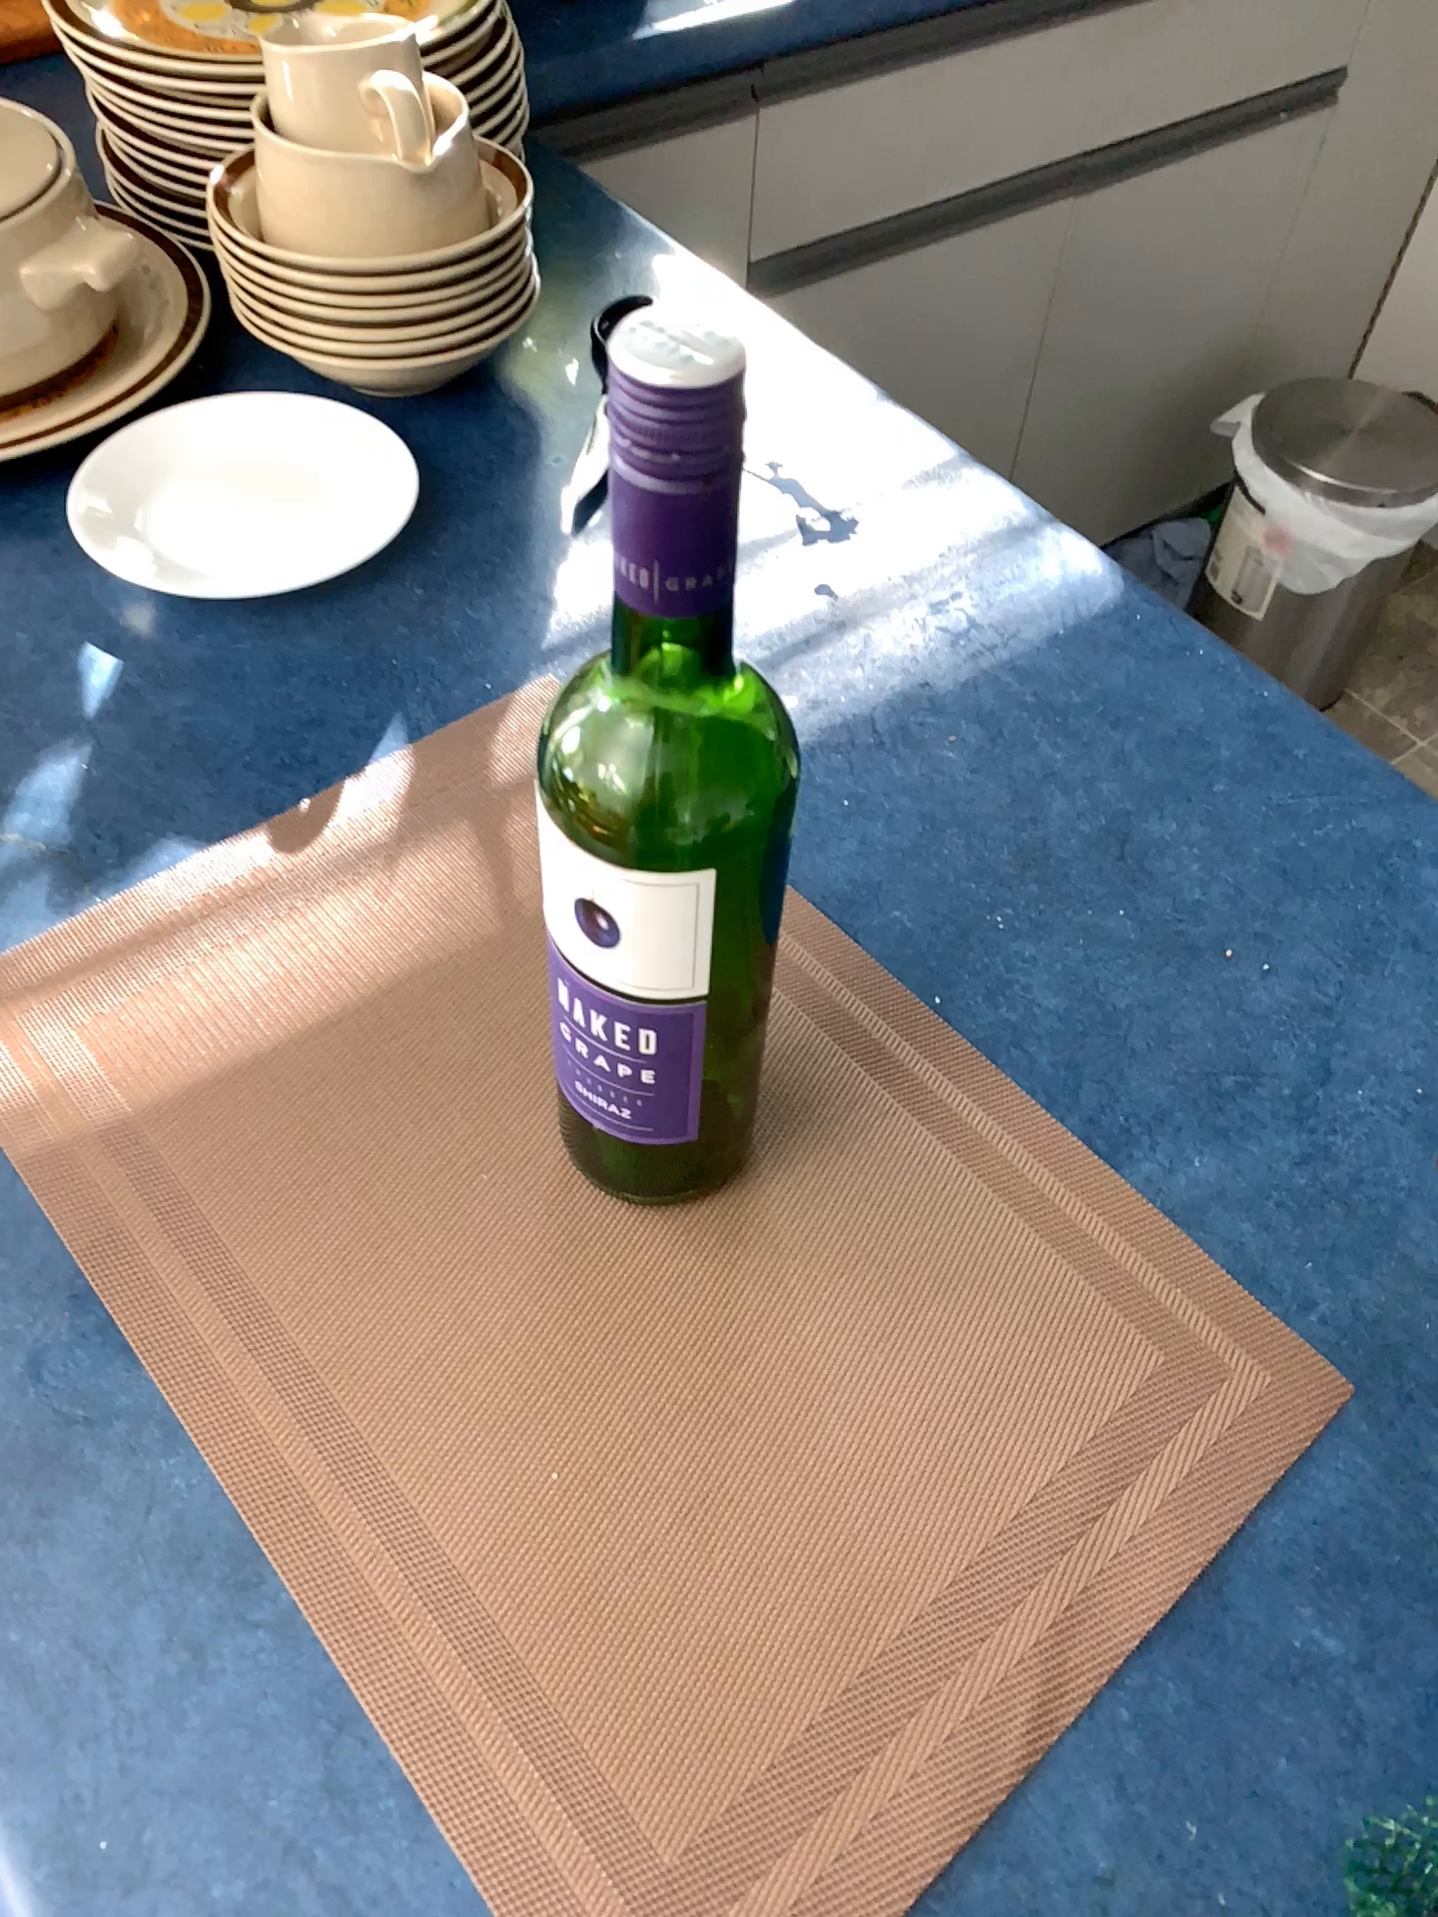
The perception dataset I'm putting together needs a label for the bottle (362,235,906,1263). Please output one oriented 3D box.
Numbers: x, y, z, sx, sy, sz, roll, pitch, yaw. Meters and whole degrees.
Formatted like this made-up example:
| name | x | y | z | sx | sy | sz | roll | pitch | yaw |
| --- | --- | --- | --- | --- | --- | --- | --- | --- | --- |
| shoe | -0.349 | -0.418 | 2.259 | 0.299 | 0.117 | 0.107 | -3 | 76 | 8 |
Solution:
| name | x | y | z | sx | sy | sz | roll | pitch | yaw |
| --- | --- | --- | --- | --- | --- | --- | --- | --- | --- |
| bottle | -0.022 | -0.031 | 0.411 | 0.080 | 0.288 | 0.080 | 2 | 52 | -2 |
